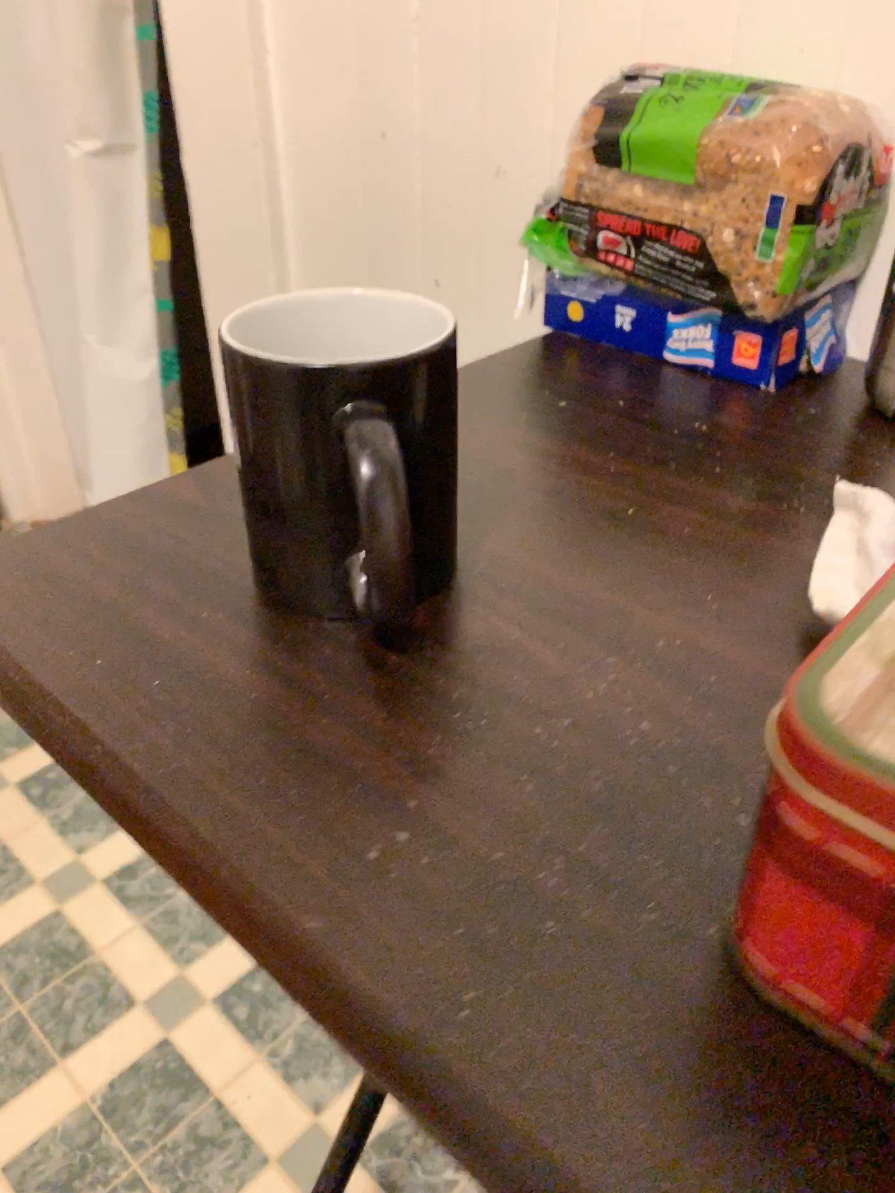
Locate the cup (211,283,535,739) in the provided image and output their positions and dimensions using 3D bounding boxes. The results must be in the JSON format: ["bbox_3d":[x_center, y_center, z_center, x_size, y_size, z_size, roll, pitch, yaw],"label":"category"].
[{"bbox_3d":[-0.031,-0.038,0.324,0.080,0.099,0.131,-9,35,-12],"label":"cup"}]
